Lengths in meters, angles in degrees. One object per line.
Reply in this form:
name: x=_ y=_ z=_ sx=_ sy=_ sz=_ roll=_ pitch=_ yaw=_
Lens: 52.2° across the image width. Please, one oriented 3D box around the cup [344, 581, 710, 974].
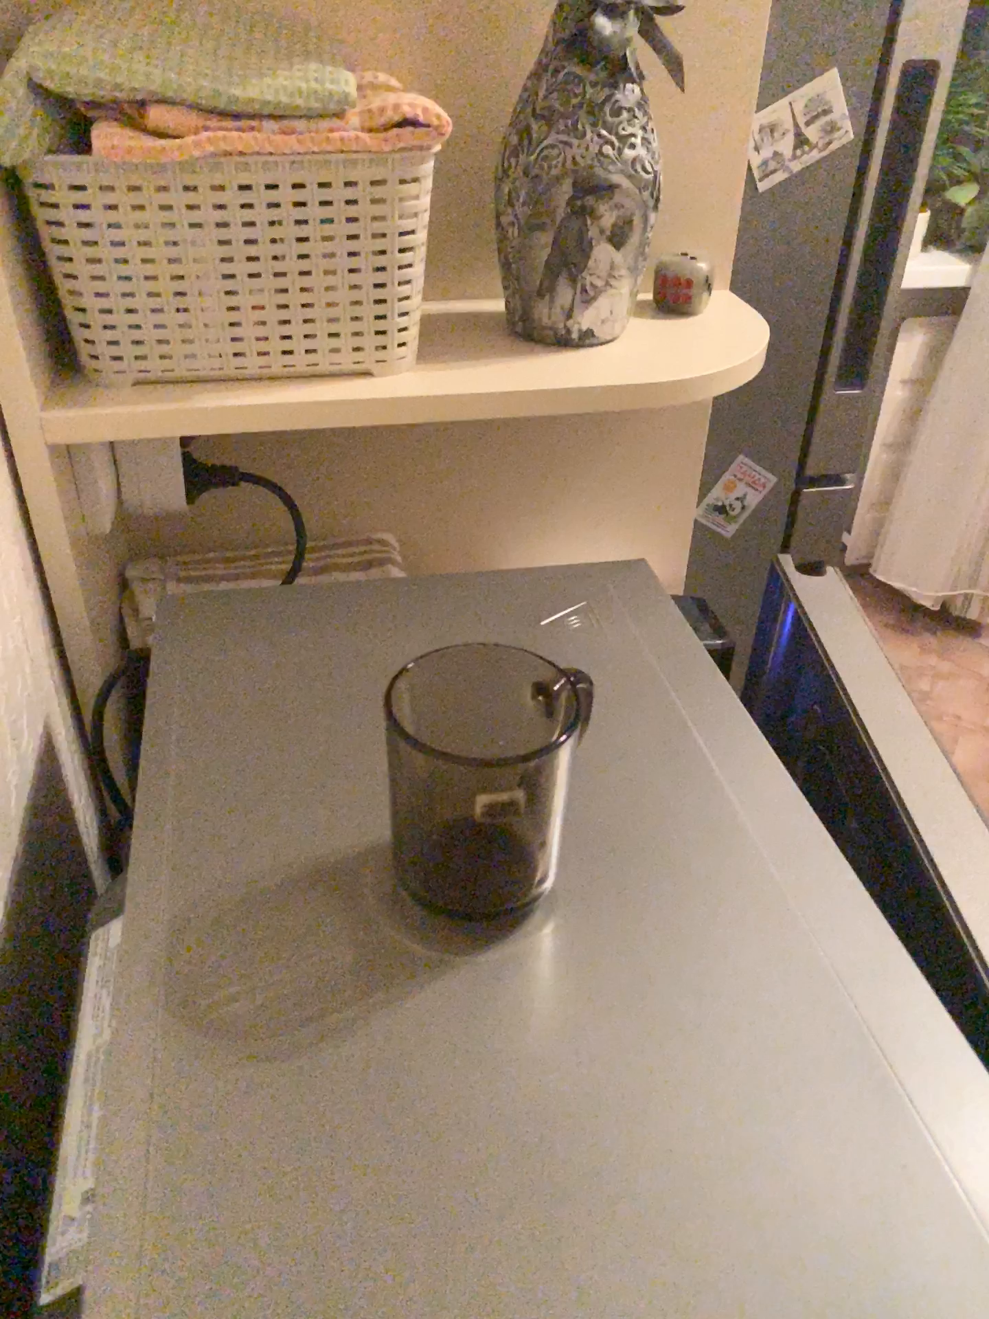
cup: x=0.013 y=0.039 z=0.387 sx=0.080 sy=0.079 sz=0.111 roll=29 pitch=43 yaw=33
